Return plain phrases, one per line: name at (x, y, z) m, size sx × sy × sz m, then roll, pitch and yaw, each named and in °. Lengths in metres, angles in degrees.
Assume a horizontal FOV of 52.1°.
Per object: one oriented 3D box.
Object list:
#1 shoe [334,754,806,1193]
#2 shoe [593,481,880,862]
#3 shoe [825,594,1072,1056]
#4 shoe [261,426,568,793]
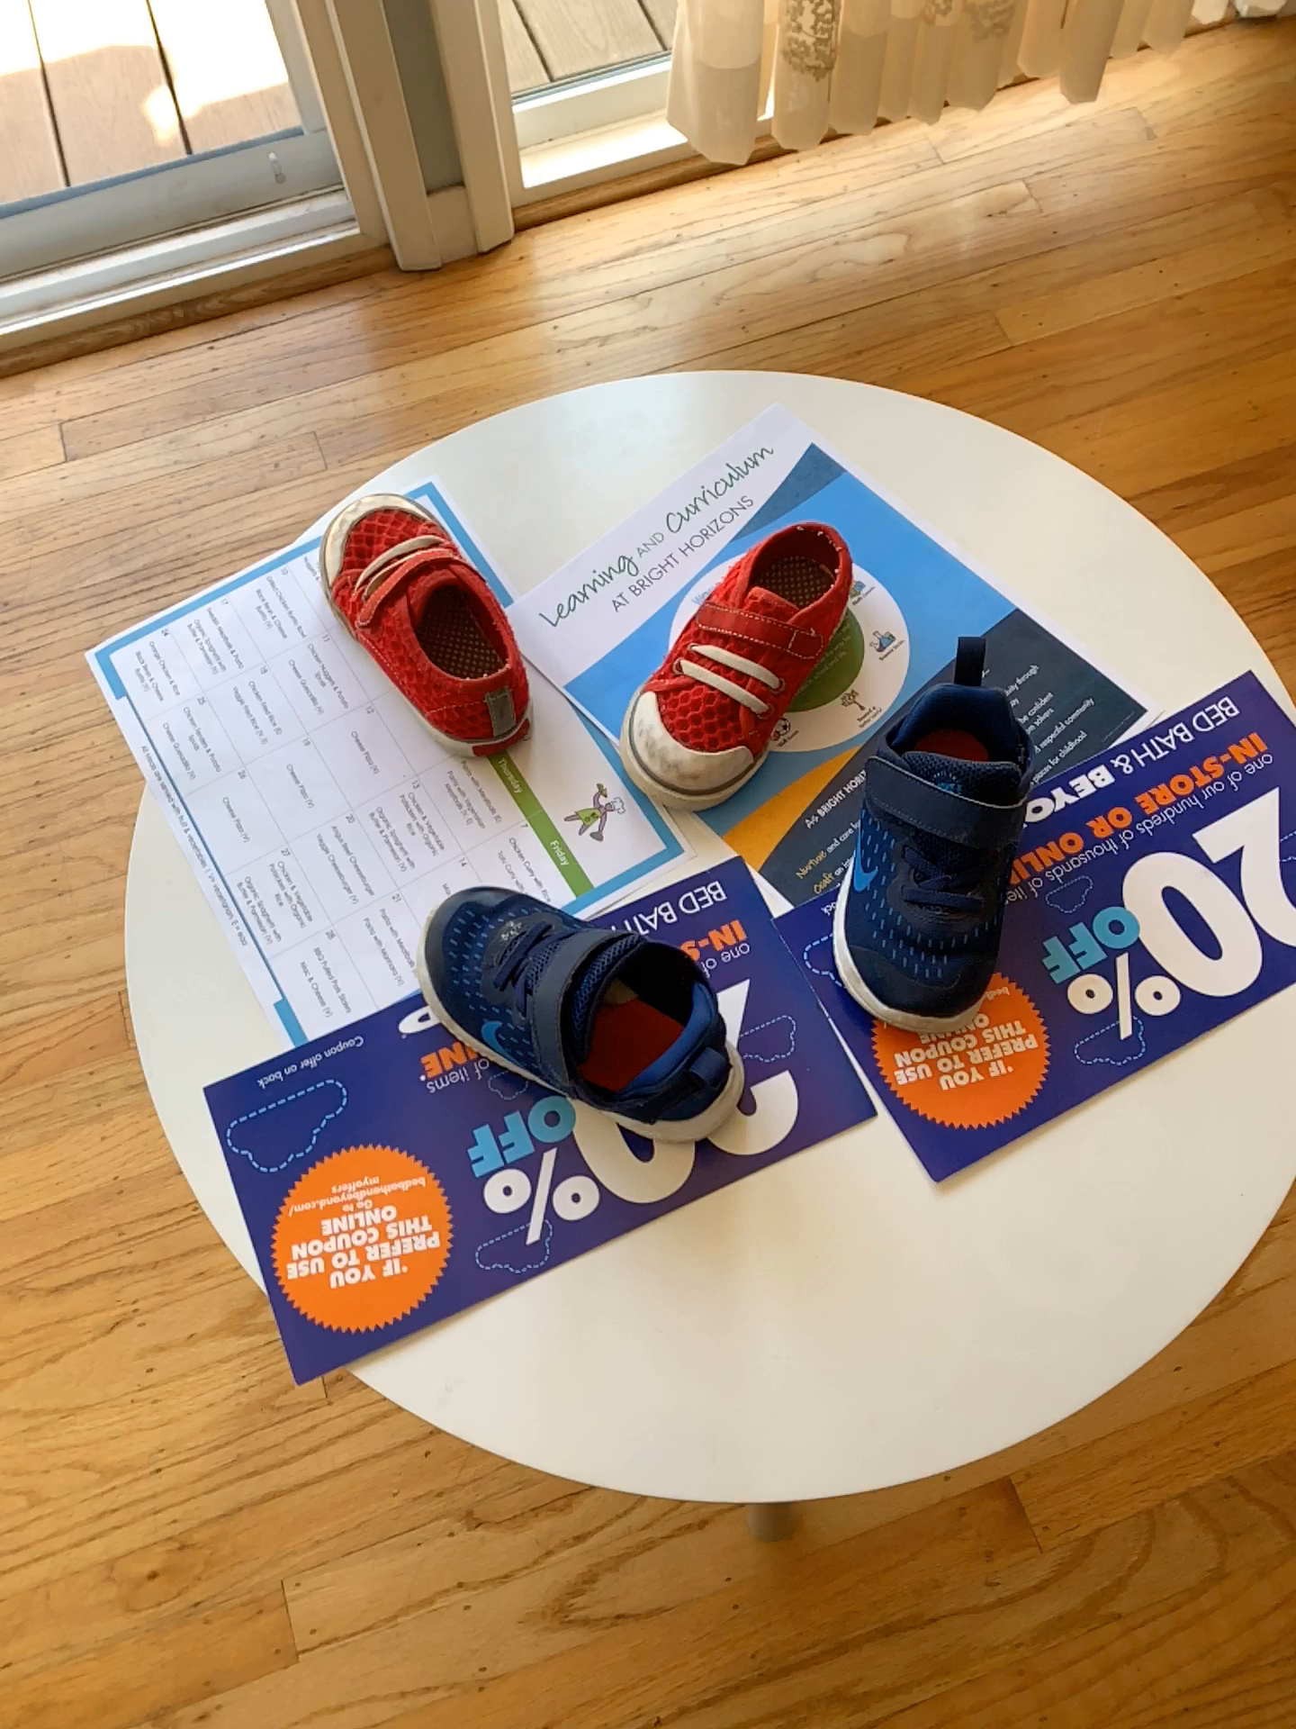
shoe at (-0.027, 0.045, 0.518) m, size 0.150 × 0.100 × 0.080 m, roll 29°, pitch 71°, yaw 15°
shoe at (0.044, -0.093, 0.634) m, size 0.060 × 0.070 × 0.160 m, roll 28°, pitch 70°, yaw 14°
shoe at (0.125, -0.015, 0.559) m, size 0.080 × 0.100 × 0.160 m, roll 6°, pitch 66°, yaw 5°
shoe at (-0.116, -0.128, 0.661) m, size 0.070 × 0.070 × 0.160 m, roll -32°, pitch 68°, yaw -11°
